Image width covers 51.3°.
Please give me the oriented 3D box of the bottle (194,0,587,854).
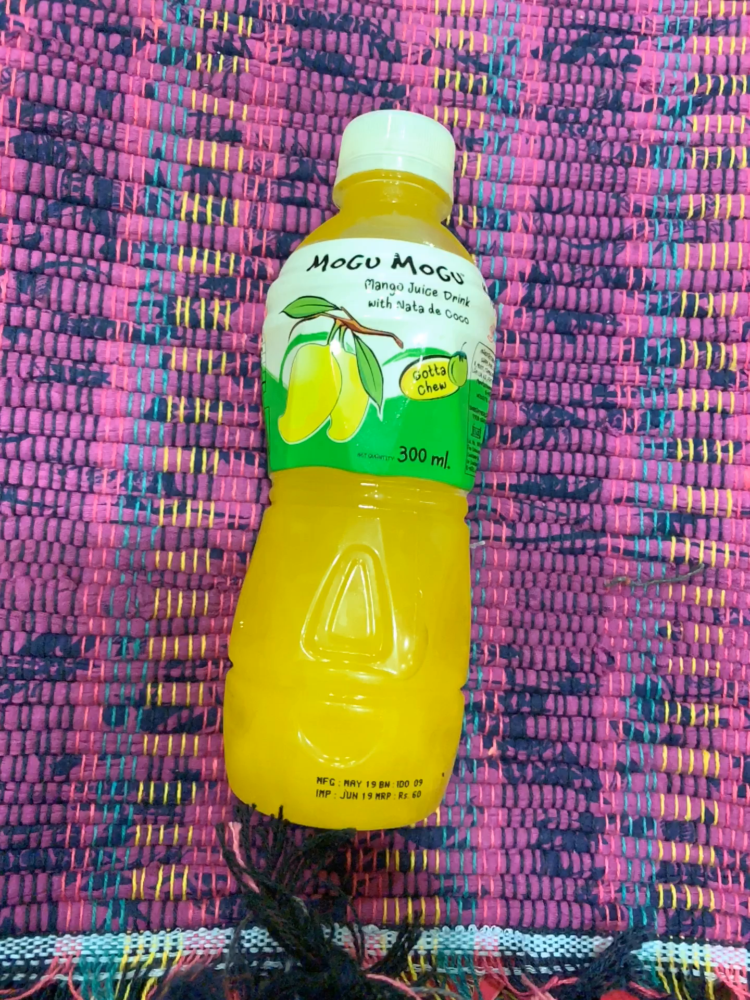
[{"bbox_3d":[0.000,-0.017,0.171,0.060,0.060,0.160,6,85,-11],"label":"bottle"}]
